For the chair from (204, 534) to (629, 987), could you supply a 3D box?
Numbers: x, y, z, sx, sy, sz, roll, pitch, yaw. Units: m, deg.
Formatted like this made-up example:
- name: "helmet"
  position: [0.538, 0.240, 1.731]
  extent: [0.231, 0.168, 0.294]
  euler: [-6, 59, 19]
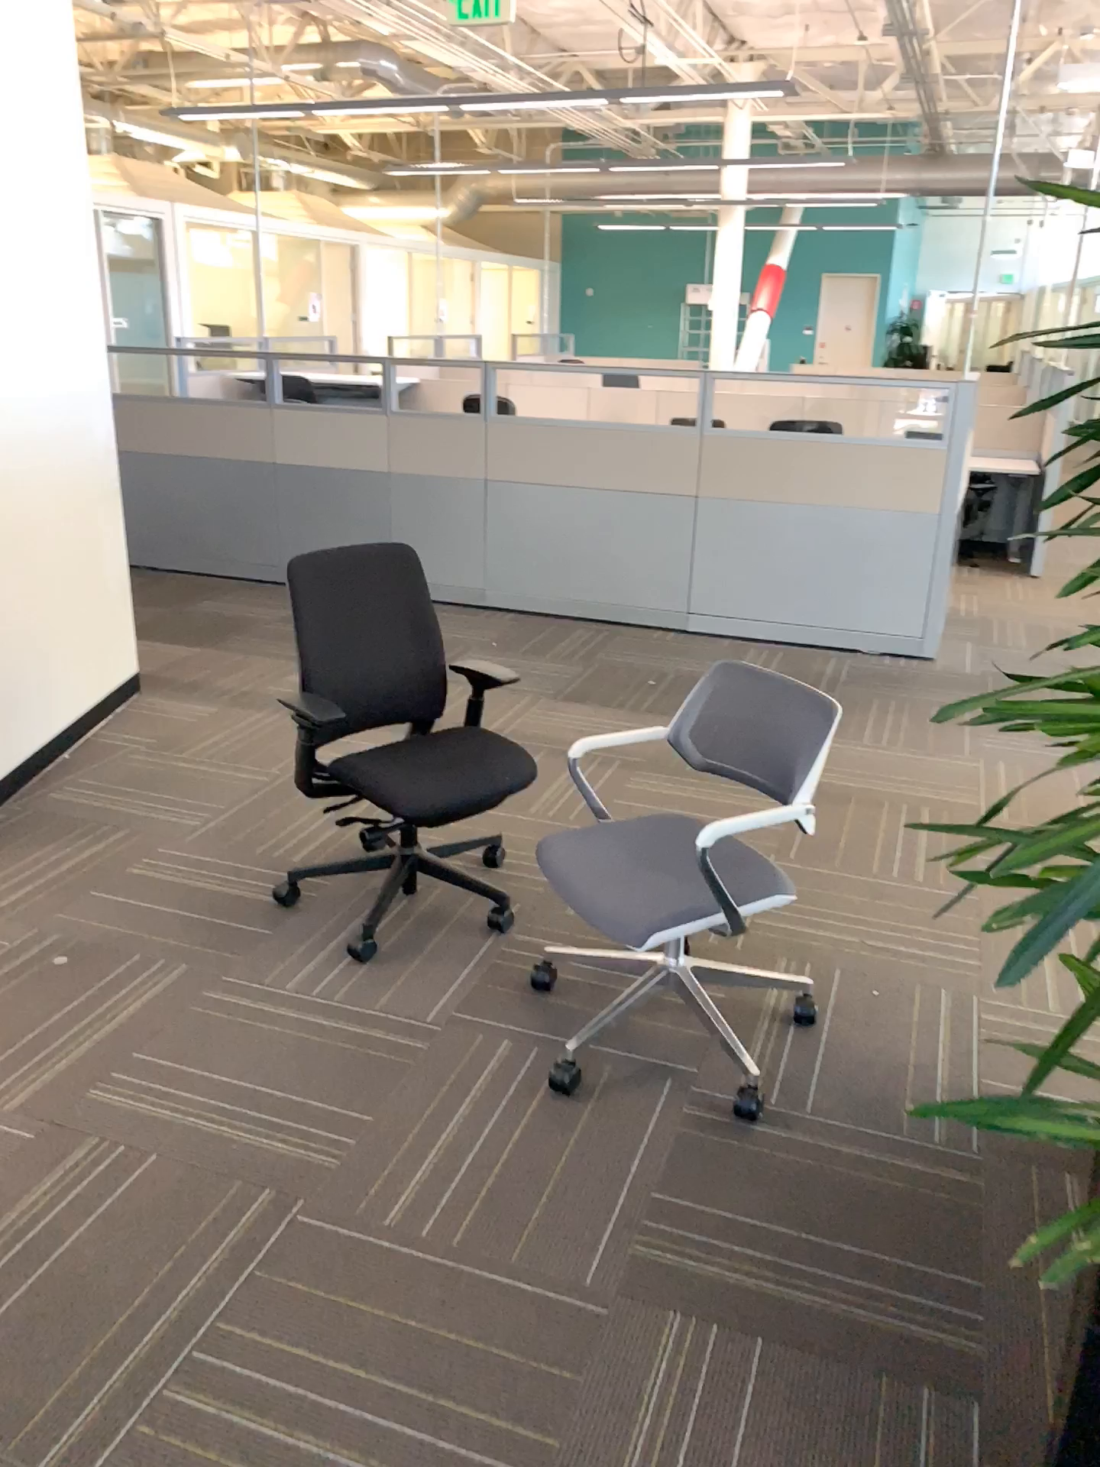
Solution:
- name: "chair"
  position: [-0.385, -0.007, 3.095]
  extent: [0.800, 0.886, 0.854]
  euler: [-12, 24, -33]

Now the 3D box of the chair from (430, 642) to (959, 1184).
- name: "chair"
  position: [0.271, 0.306, 2.516]
  extent: [0.790, 0.756, 0.804]
  euler: [-11, 23, -31]
